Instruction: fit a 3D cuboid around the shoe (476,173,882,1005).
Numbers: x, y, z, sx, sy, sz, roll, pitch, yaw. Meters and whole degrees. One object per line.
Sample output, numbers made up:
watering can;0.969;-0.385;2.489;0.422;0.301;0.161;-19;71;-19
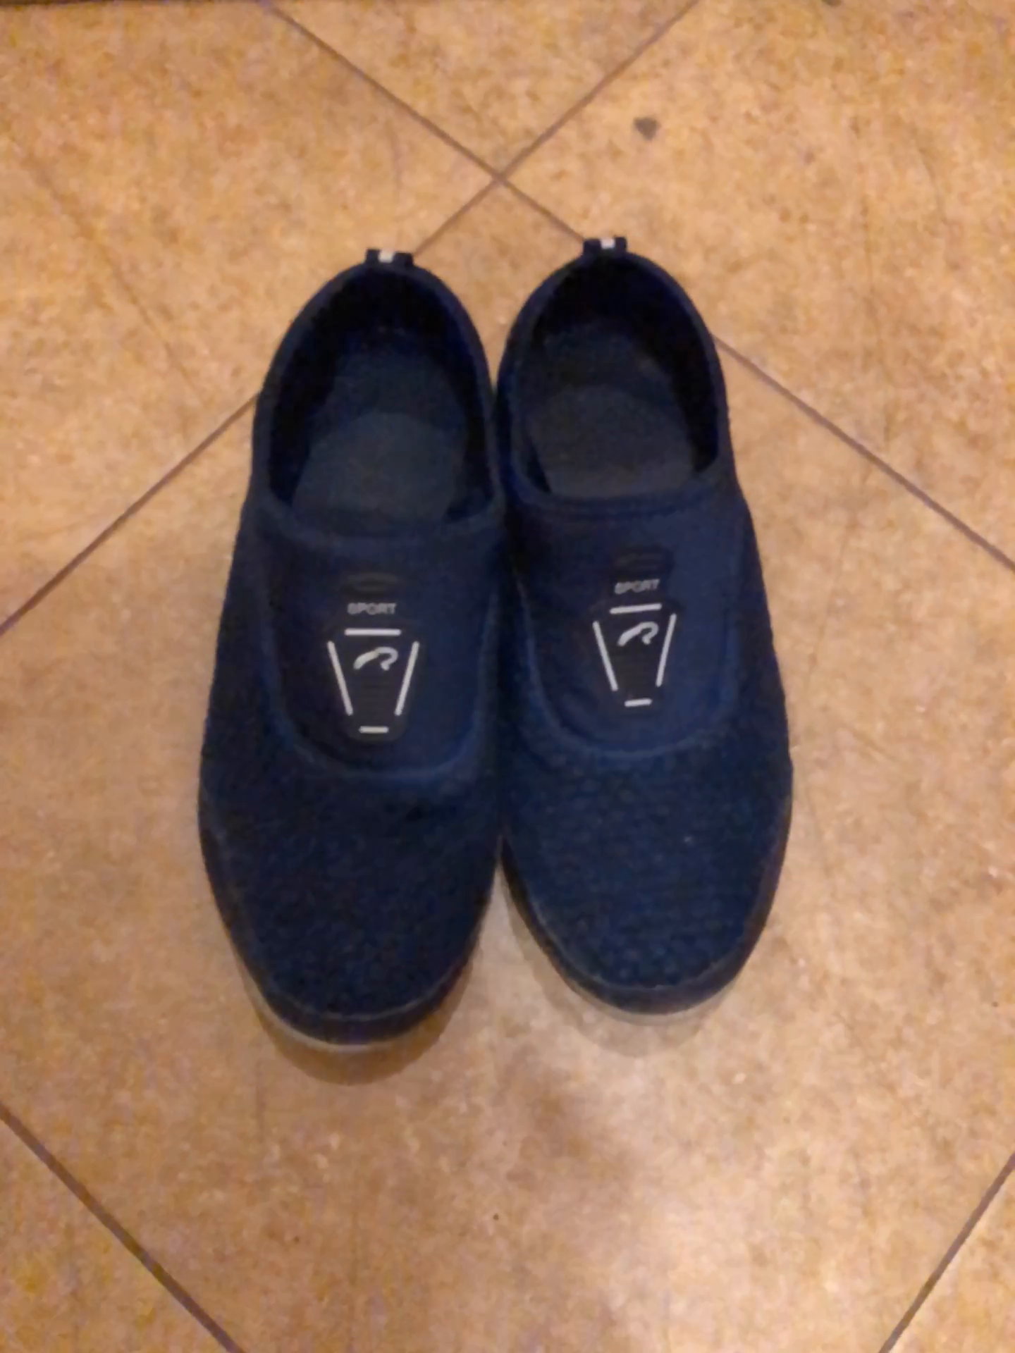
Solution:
shoe;0.049;-0.035;0.406;0.110;0.070;0.291;-1;73;-3

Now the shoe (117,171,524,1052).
shoe;-0.052;-0.026;0.388;0.110;0.070;0.291;1;73;-2
